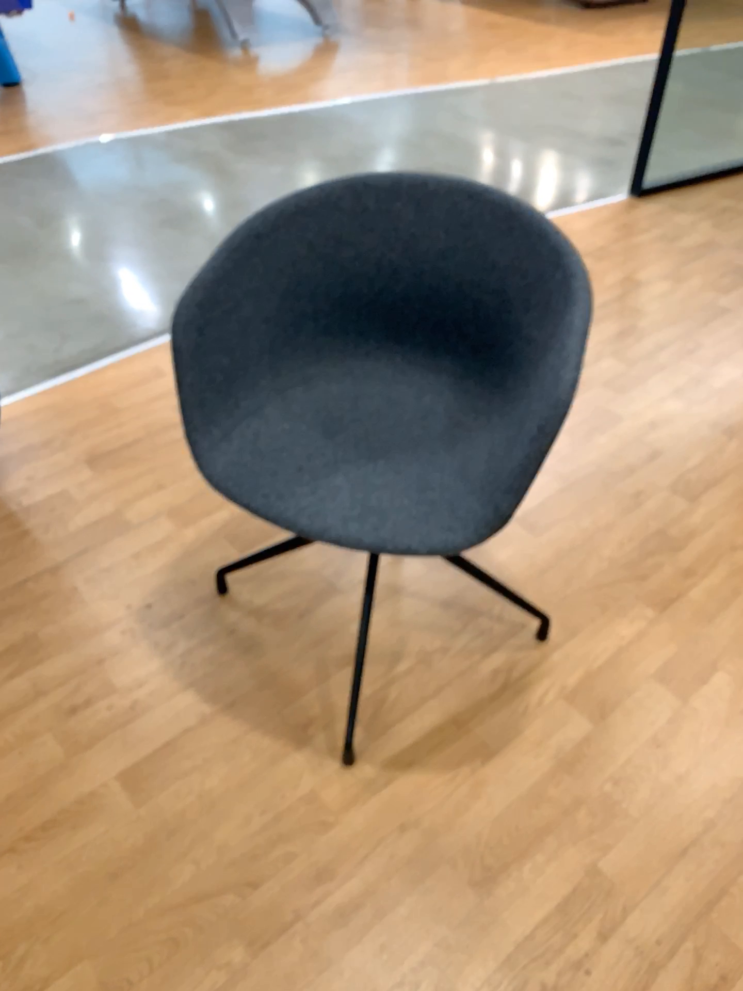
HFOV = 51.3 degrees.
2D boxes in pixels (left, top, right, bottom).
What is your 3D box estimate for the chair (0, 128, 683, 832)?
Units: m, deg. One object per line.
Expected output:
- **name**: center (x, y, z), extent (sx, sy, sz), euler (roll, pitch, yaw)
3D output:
- **chair**: center (-0.002, -0.093, 1.257), extent (0.711, 0.684, 0.735), euler (17, 43, 18)
